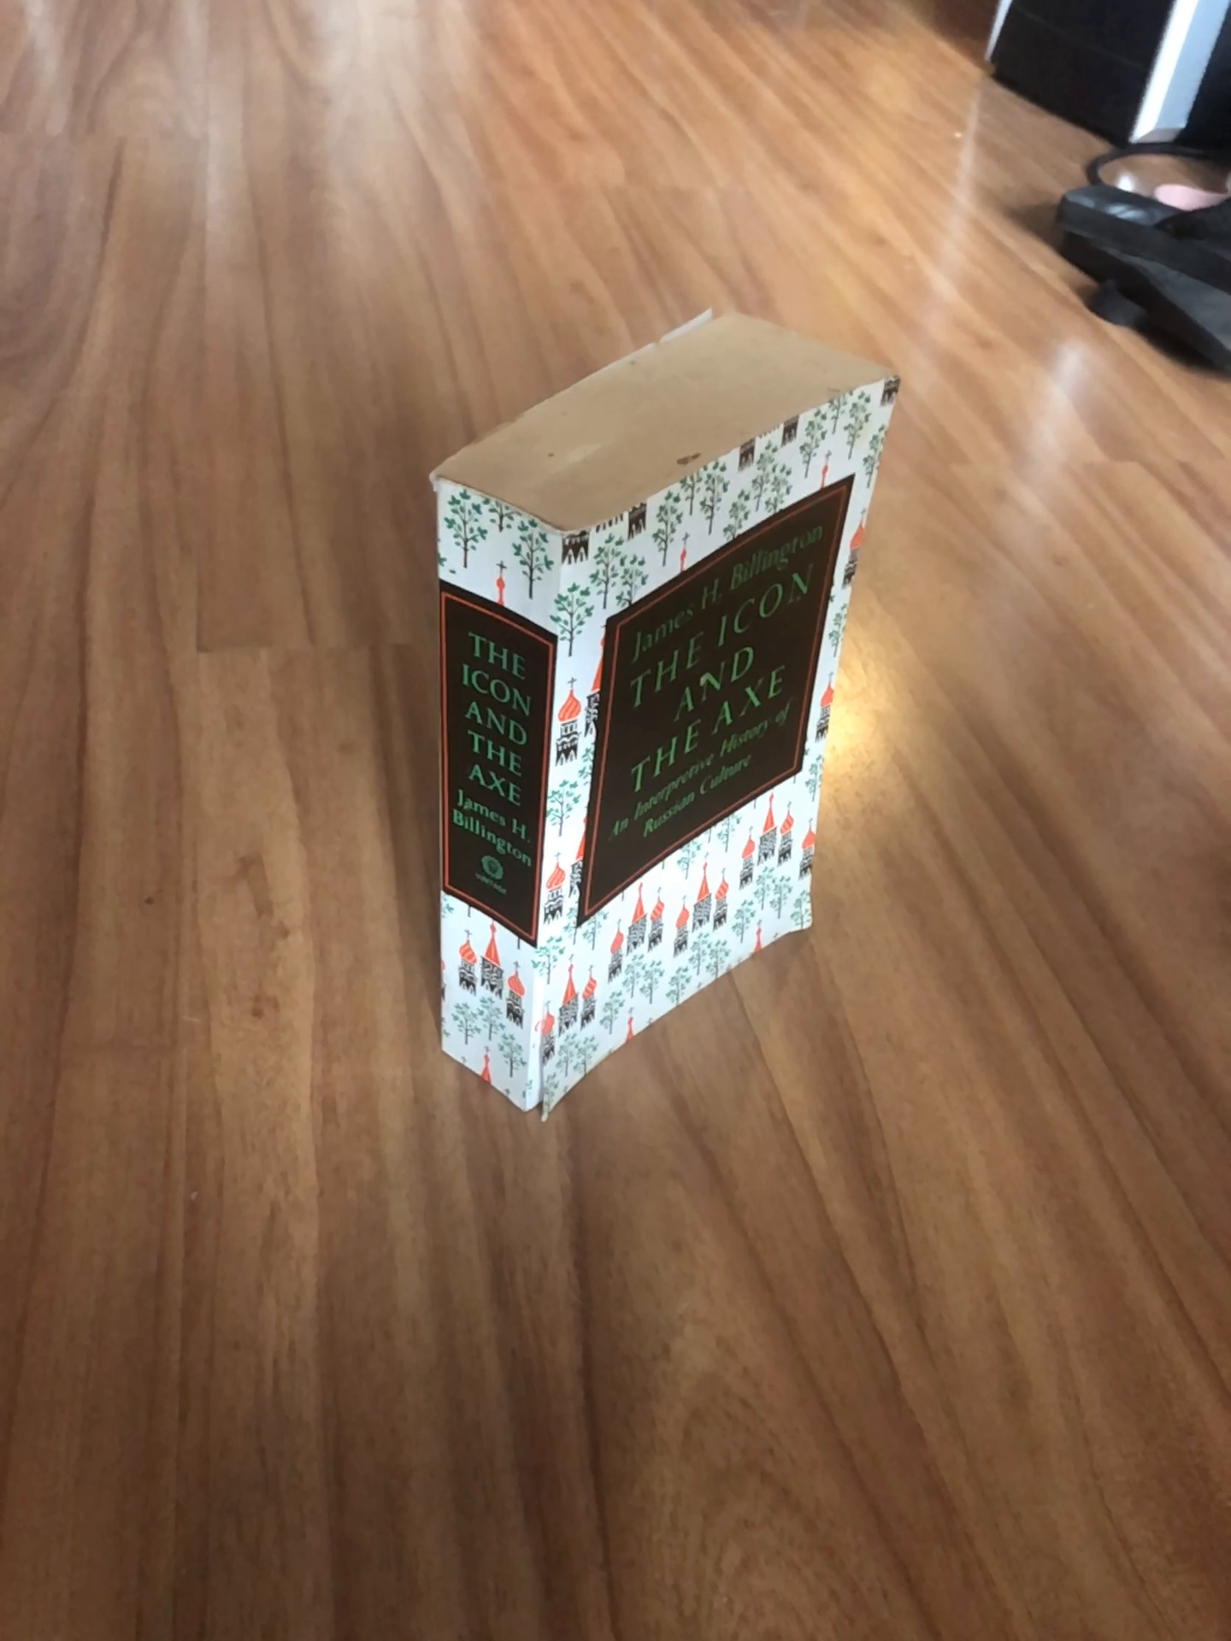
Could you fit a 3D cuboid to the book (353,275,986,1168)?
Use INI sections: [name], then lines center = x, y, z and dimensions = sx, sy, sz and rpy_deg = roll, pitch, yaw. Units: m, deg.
[book]
center = 0.013, -0.026, 0.376
dimensions = 0.060, 0.199, 0.151
rpy_deg = 34, 48, 30
